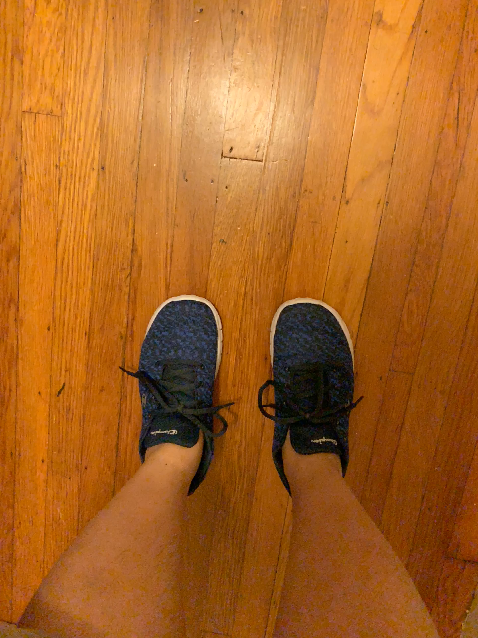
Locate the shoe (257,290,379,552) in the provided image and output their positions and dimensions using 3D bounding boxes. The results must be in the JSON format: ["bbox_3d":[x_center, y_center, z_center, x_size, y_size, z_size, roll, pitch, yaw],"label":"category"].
[{"bbox_3d":[0.095,0.118,0.598,0.117,0.130,0.280,-4,103,6],"label":"shoe"}]

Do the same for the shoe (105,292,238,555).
[{"bbox_3d":[-0.073,0.123,0.624,0.115,0.150,0.290,-2,103,5],"label":"shoe"}]
